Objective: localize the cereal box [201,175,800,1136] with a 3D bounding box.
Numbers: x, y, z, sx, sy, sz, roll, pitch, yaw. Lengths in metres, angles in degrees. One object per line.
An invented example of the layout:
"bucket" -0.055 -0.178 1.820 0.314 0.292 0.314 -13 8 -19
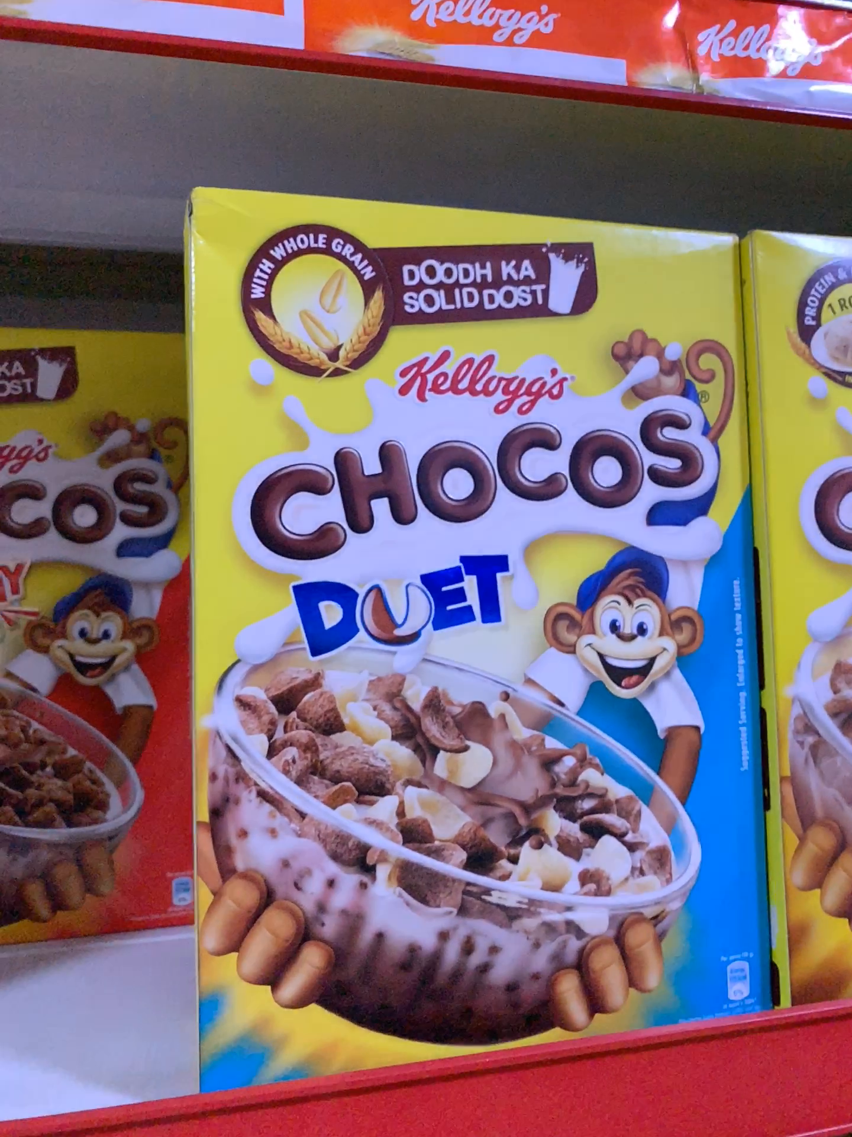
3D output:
"cereal box" 0.019 0.020 0.280 0.170 0.250 0.060 -1 -3 -14
